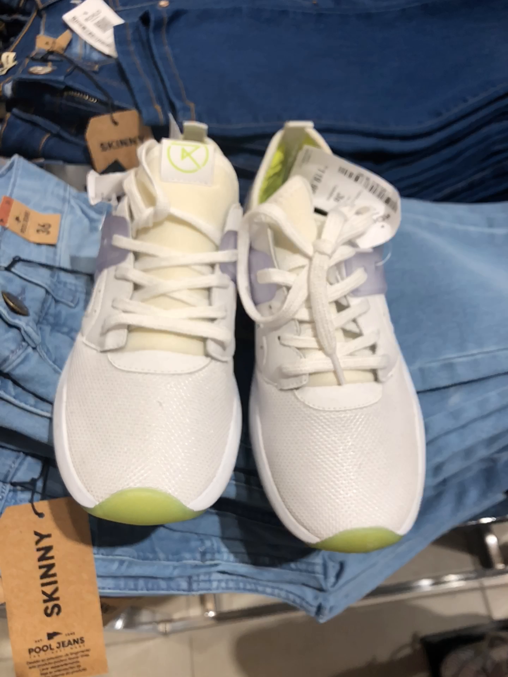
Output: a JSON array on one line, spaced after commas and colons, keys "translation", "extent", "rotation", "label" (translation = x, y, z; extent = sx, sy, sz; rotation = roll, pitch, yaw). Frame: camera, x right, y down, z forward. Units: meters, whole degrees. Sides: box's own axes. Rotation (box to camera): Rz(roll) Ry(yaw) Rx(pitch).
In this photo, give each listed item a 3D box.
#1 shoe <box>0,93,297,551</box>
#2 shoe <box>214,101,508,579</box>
[{"translation": [-0.051, -0.032, 0.329], "extent": [0.110, 0.119, 0.261], "rotation": [5, 39, -6], "label": "shoe"}, {"translation": [0.041, -0.009, 0.326], "extent": [0.100, 0.090, 0.251], "rotation": [-7, 61, 0], "label": "shoe"}]
